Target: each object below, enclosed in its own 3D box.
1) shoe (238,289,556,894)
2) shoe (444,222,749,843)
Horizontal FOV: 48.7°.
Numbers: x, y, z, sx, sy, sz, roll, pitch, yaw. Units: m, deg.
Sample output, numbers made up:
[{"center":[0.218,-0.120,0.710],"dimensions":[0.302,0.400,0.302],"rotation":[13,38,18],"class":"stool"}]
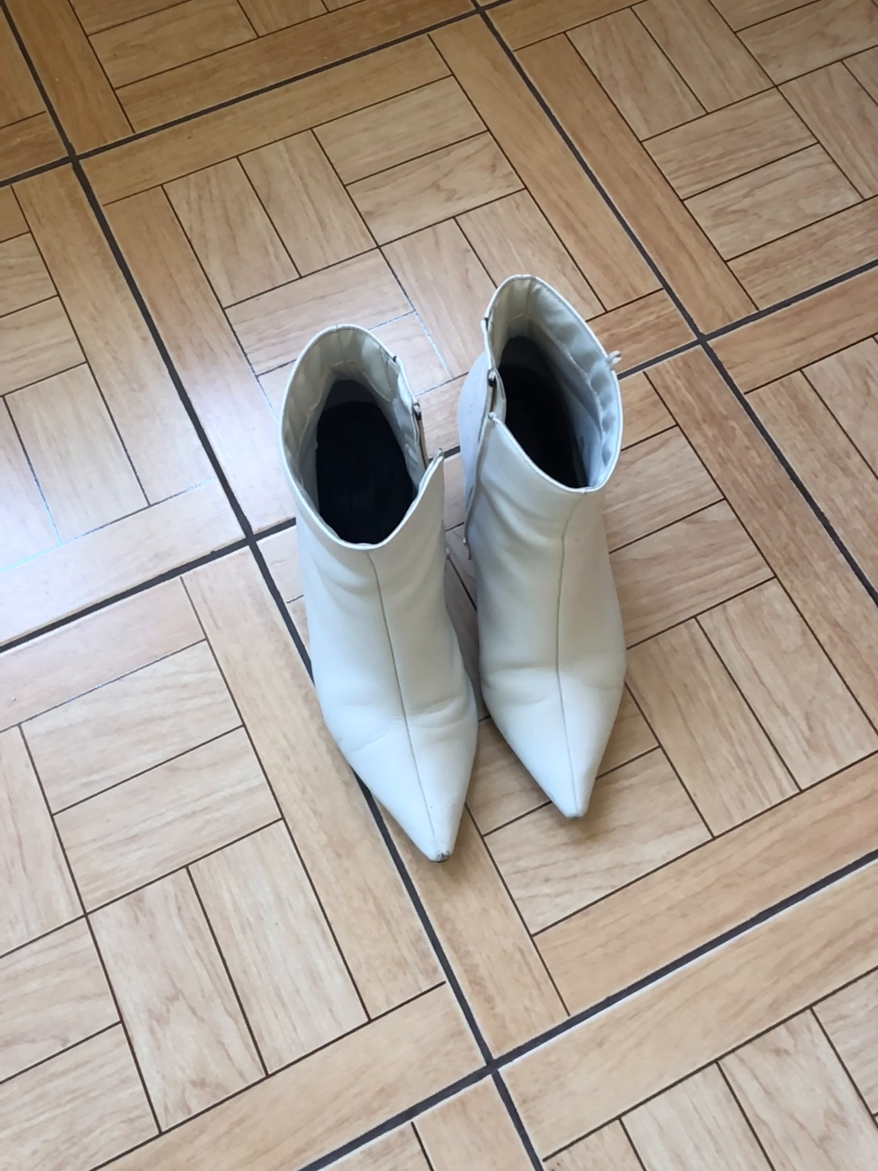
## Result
[{"center":[-0.025,0.011,0.485],"dimensions":[0.100,0.155,0.254],"rotation":[-8,71,-4],"class":"shoe"},{"center":[0.062,-0.019,0.496],"dimensions":[0.100,0.155,0.274],"rotation":[-3,70,-2],"class":"shoe"}]
